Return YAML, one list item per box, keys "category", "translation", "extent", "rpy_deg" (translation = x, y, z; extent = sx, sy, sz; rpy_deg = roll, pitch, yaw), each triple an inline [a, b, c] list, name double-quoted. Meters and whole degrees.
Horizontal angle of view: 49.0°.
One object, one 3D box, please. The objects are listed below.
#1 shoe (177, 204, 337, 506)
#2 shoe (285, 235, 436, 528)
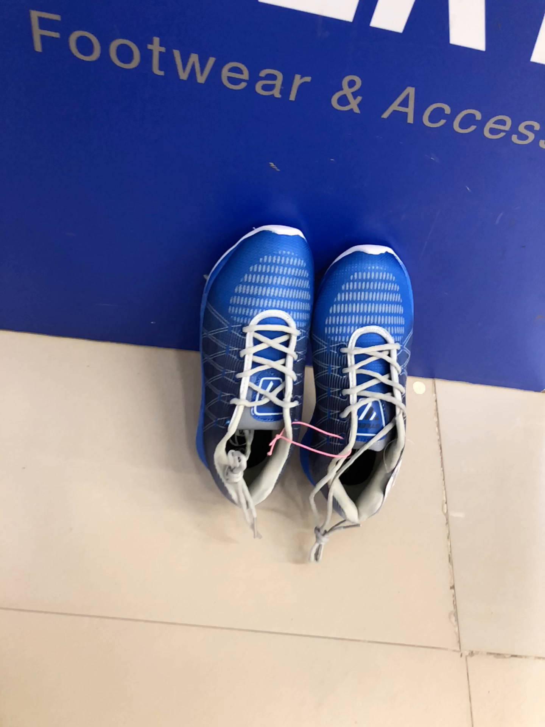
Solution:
- category: "shoe"
  translation: [-0.025, -0.008, 0.587]
  extent: [0.110, 0.269, 0.100]
  rpy_deg: [5, 15, -12]
- category: "shoe"
  translation: [0.079, 0.012, 0.603]
  extent: [0.100, 0.120, 0.269]
  rpy_deg: [2, 101, -7]
